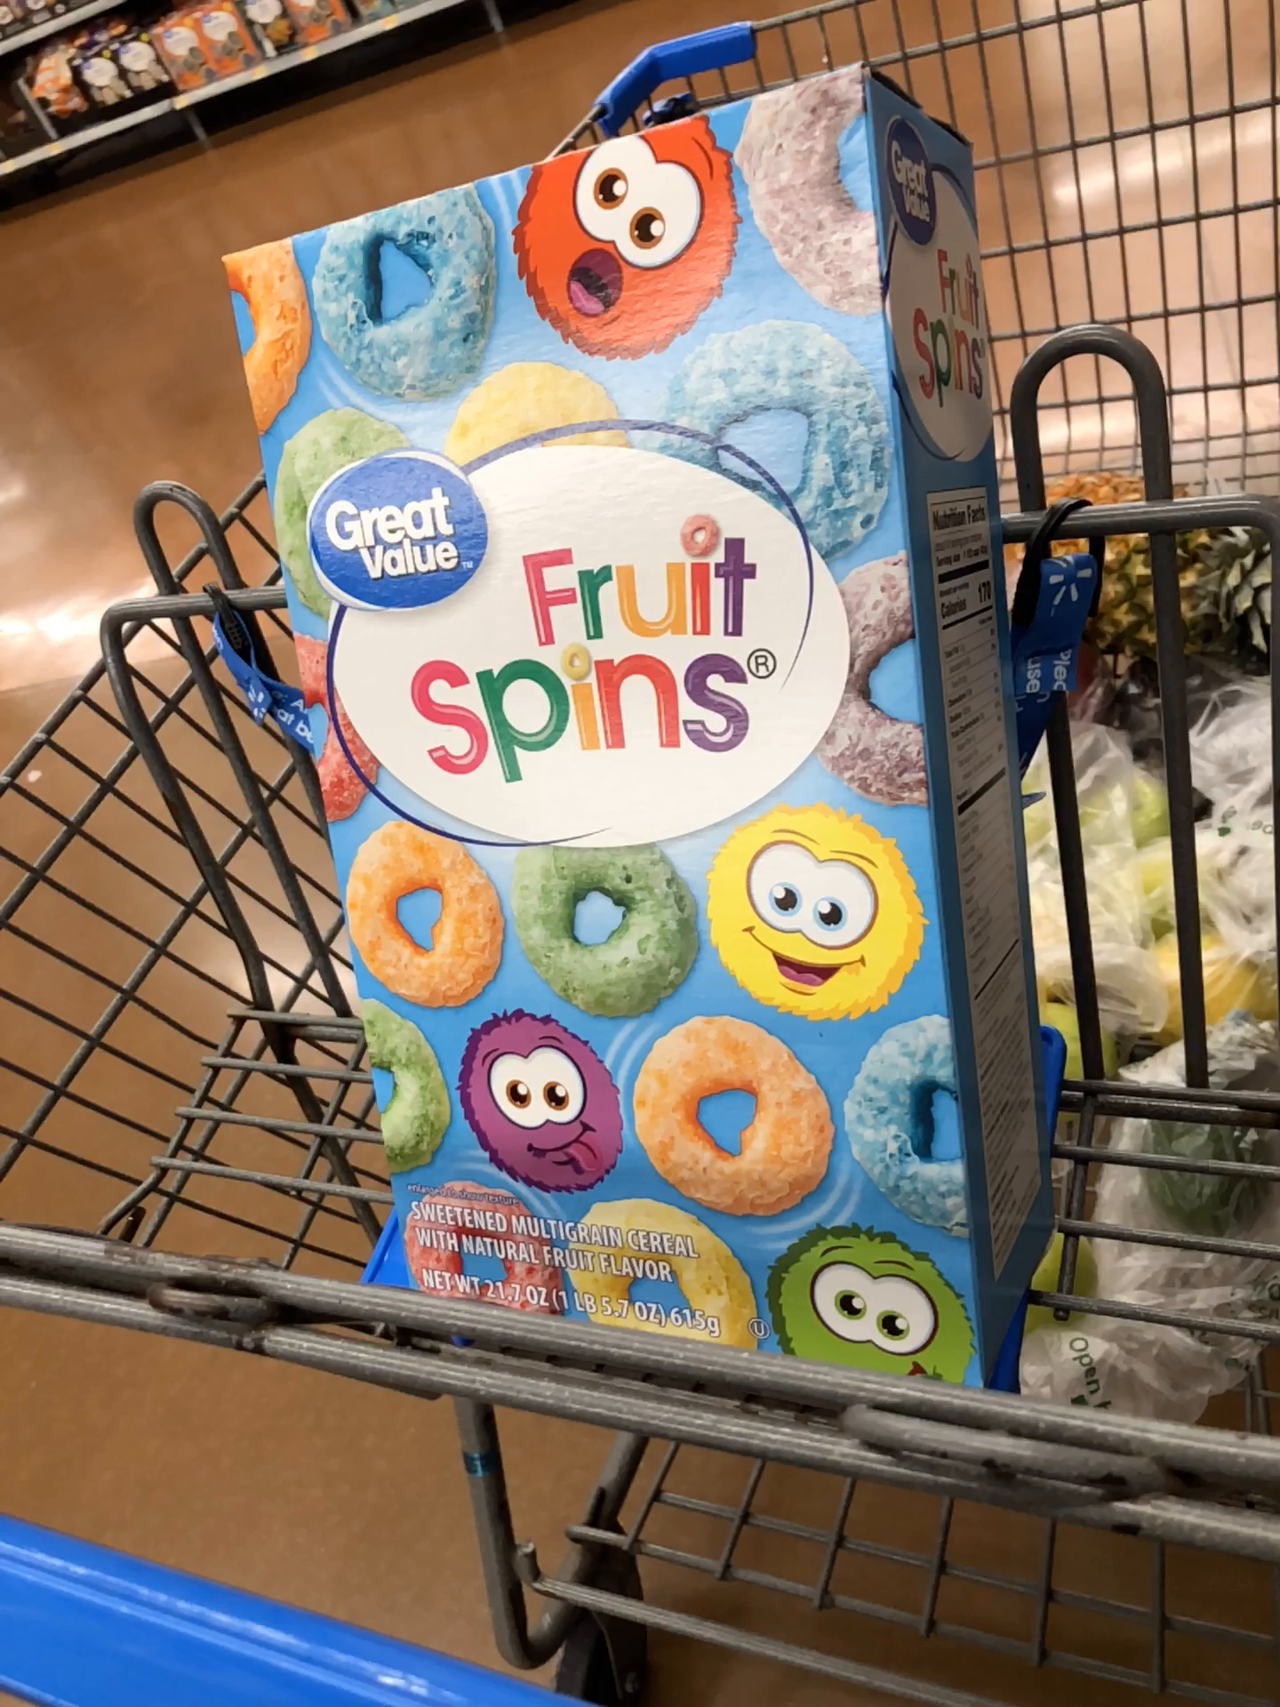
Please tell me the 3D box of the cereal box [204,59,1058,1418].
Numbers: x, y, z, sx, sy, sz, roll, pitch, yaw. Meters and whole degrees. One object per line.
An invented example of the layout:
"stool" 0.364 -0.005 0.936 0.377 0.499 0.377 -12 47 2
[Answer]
"cereal box" 0.006 -0.021 0.433 0.200 0.340 0.090 -1 14 28
